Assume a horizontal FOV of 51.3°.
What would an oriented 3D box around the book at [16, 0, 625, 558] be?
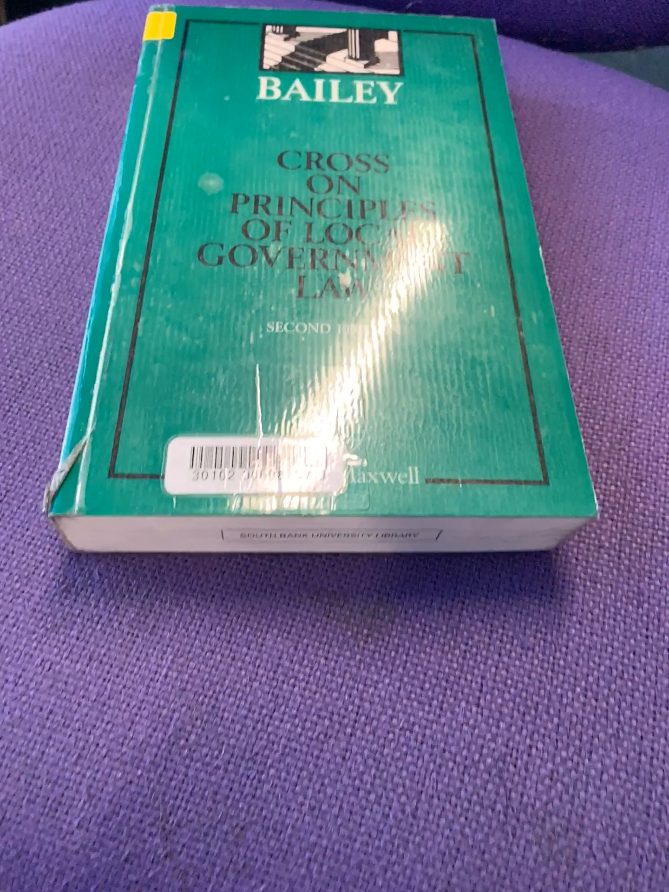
[{"bbox_3d":[-0.006,-0.078,0.260,0.160,0.040,0.237,1,60,-4],"label":"book"}]
